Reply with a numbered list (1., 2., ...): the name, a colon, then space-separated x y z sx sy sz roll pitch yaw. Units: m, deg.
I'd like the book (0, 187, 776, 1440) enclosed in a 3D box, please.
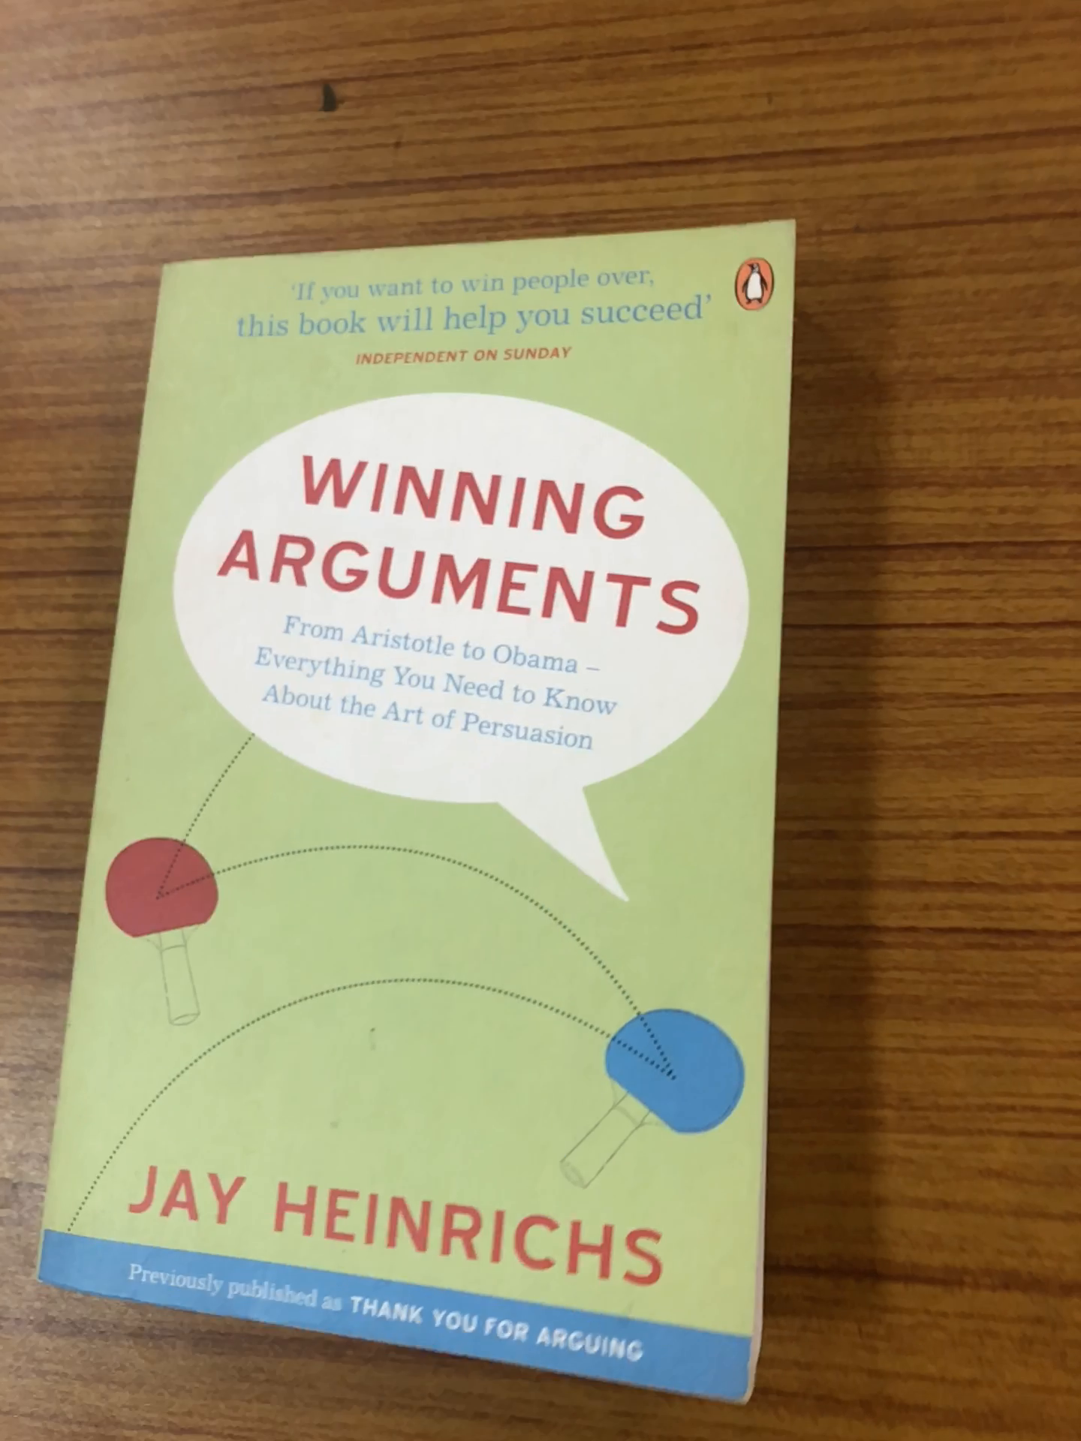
1. book: -0.031 0.009 0.228 0.140 0.030 0.210 2 81 11
